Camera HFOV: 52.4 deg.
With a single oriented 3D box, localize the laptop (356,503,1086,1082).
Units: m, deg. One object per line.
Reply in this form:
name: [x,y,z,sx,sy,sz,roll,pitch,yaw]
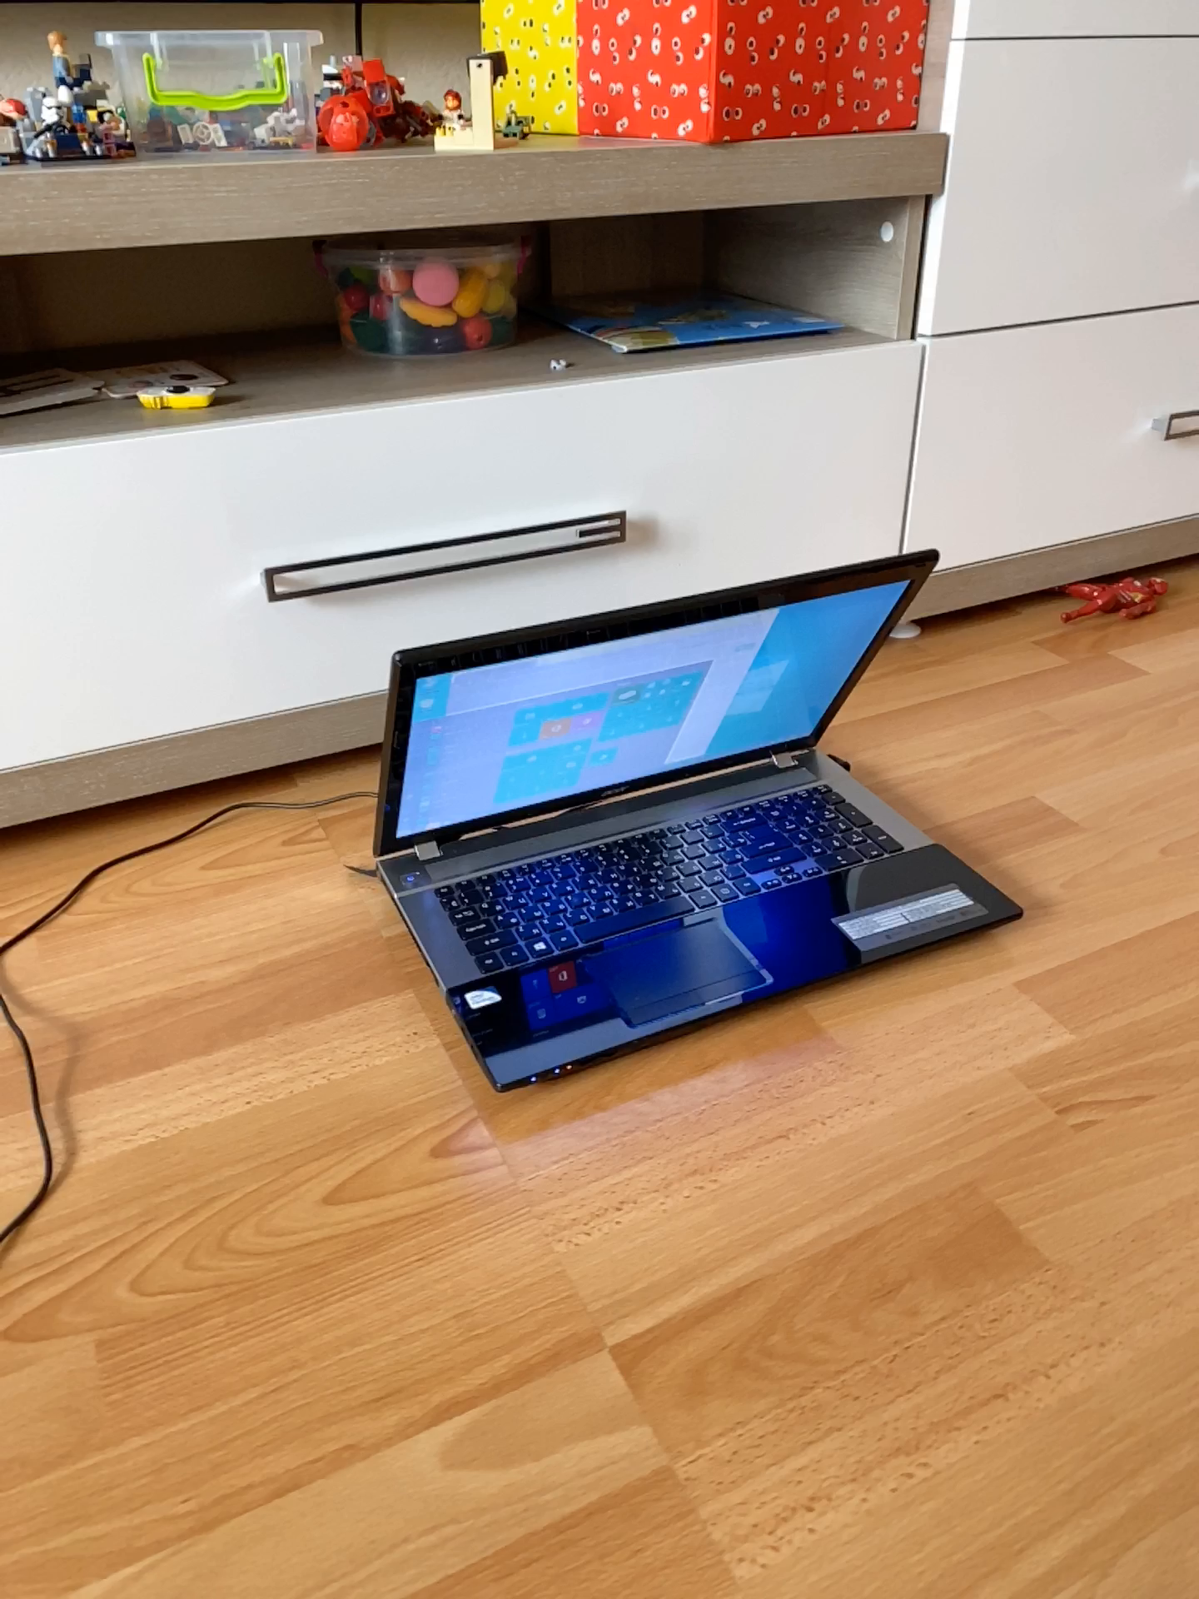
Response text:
laptop: [0.072,-0.034,0.872,0.412,0.233,0.270,-13,32,-21]
